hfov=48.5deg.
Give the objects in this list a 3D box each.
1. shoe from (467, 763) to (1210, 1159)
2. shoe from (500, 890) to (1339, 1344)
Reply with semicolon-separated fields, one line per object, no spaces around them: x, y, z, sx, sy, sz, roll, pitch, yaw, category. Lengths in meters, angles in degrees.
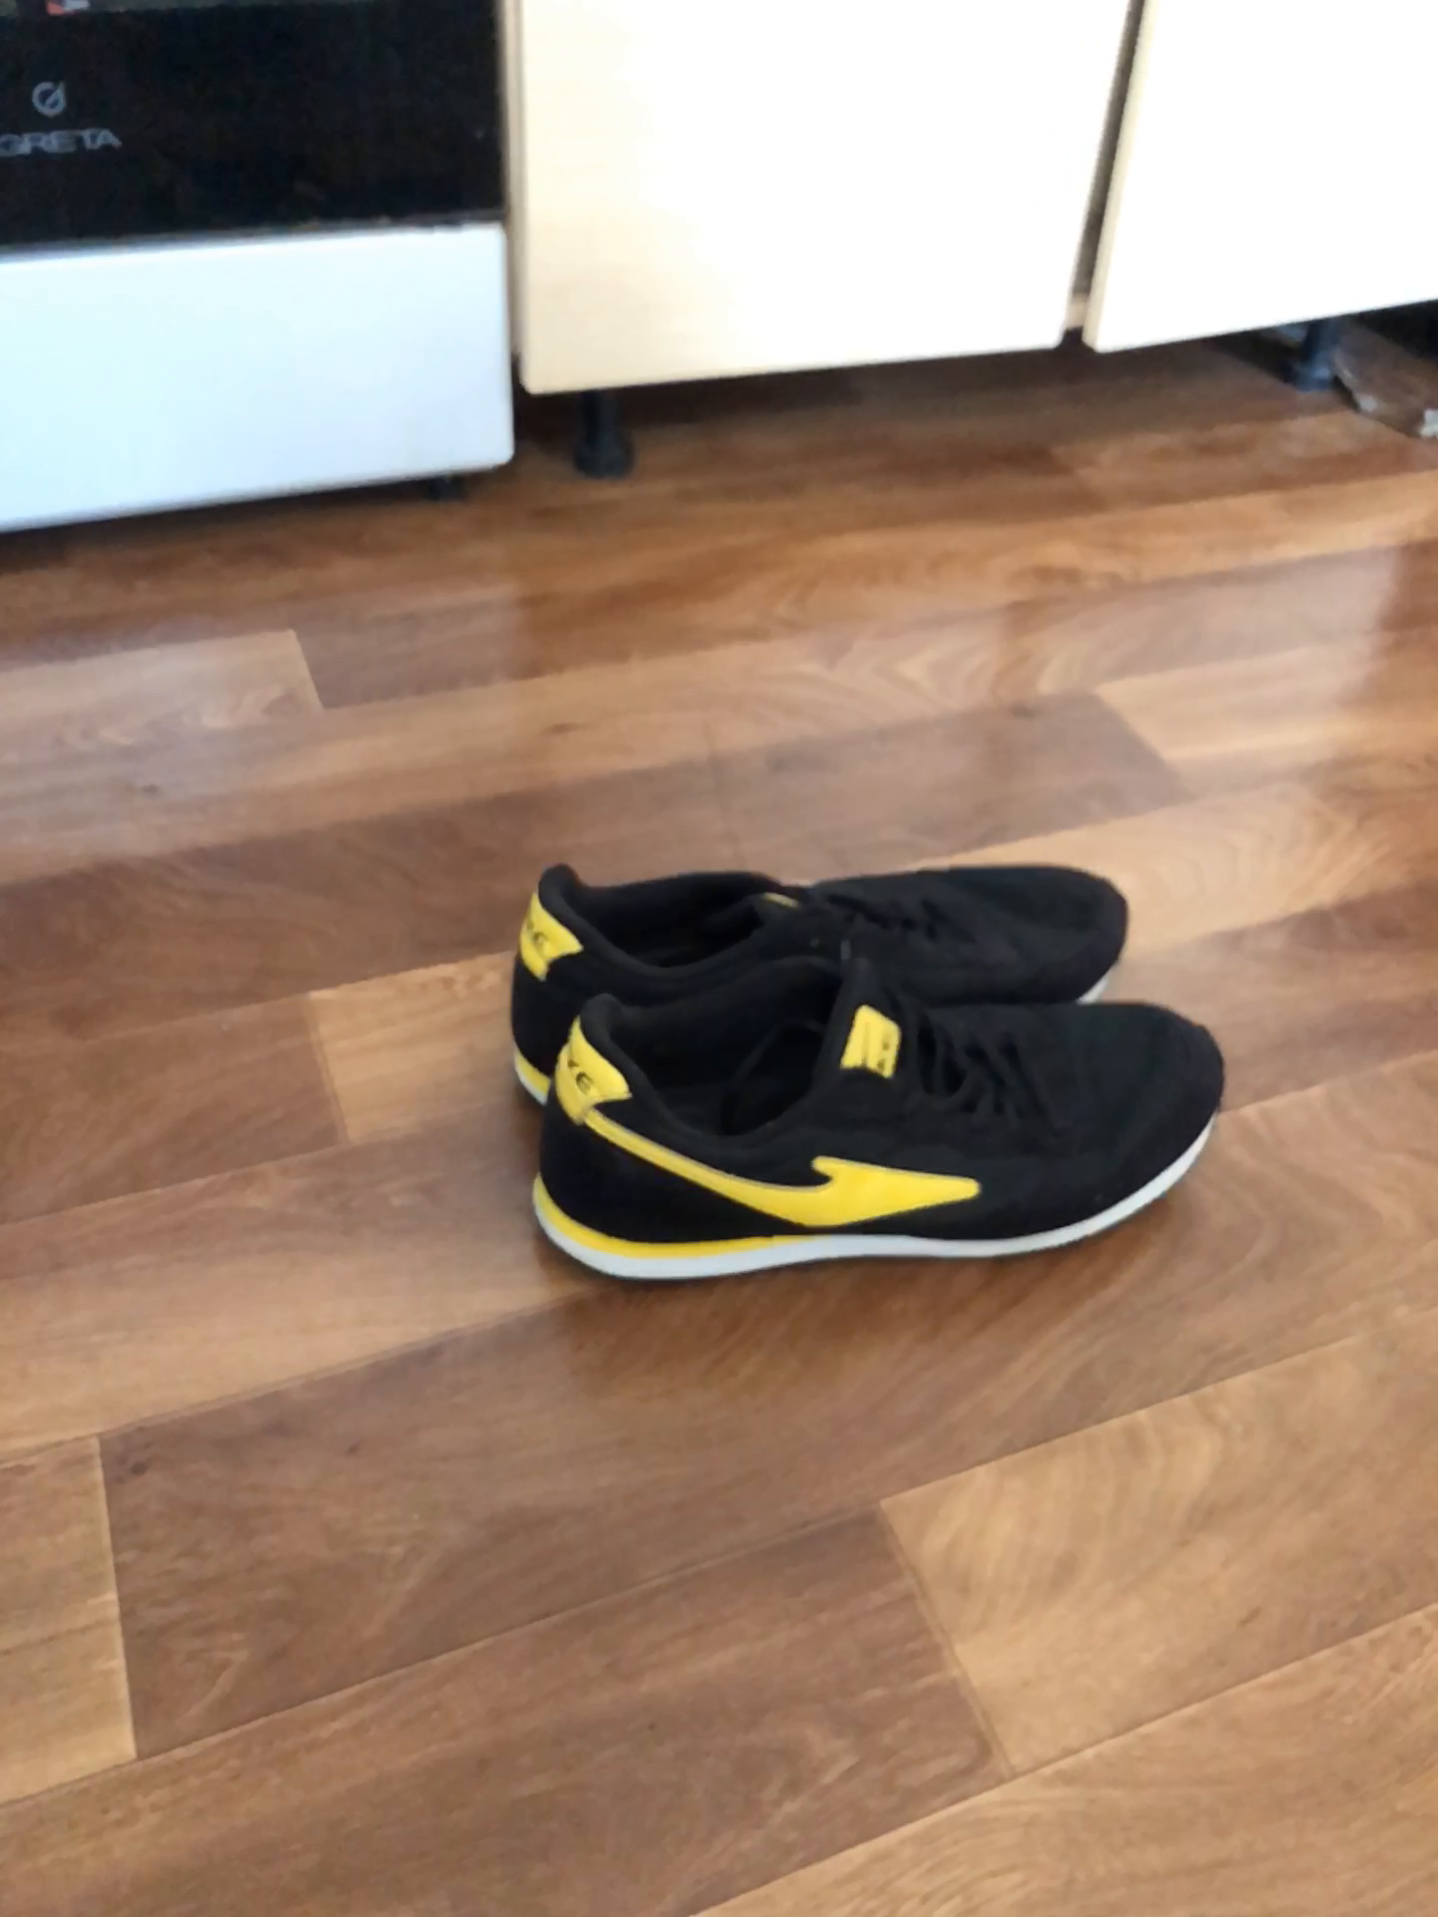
0.049;-0.005;0.711;0.300;0.079;0.111;-9;42;-14;shoe
0.073;0.056;0.634;0.300;0.079;0.111;-8;42;-13;shoe
